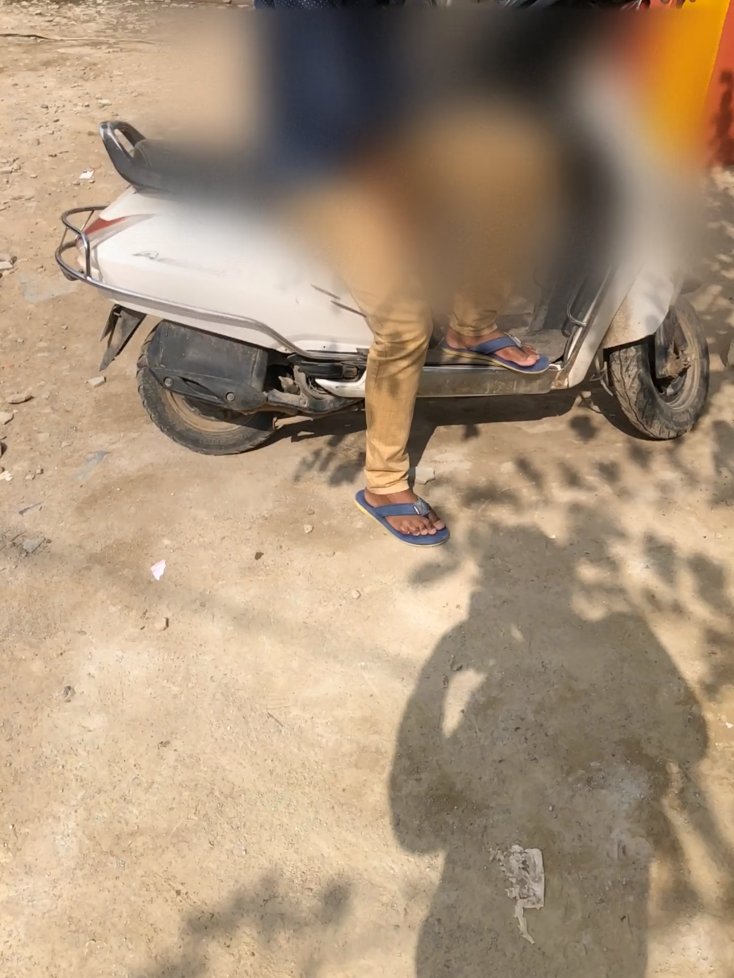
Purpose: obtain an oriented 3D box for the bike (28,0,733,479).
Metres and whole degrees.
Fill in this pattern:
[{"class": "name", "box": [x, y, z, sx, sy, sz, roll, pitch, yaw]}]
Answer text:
[{"class": "bike", "box": [0.167, -0.736, 2.152, 1.593, 1.187, 0.625, -4, 41, -4]}]
